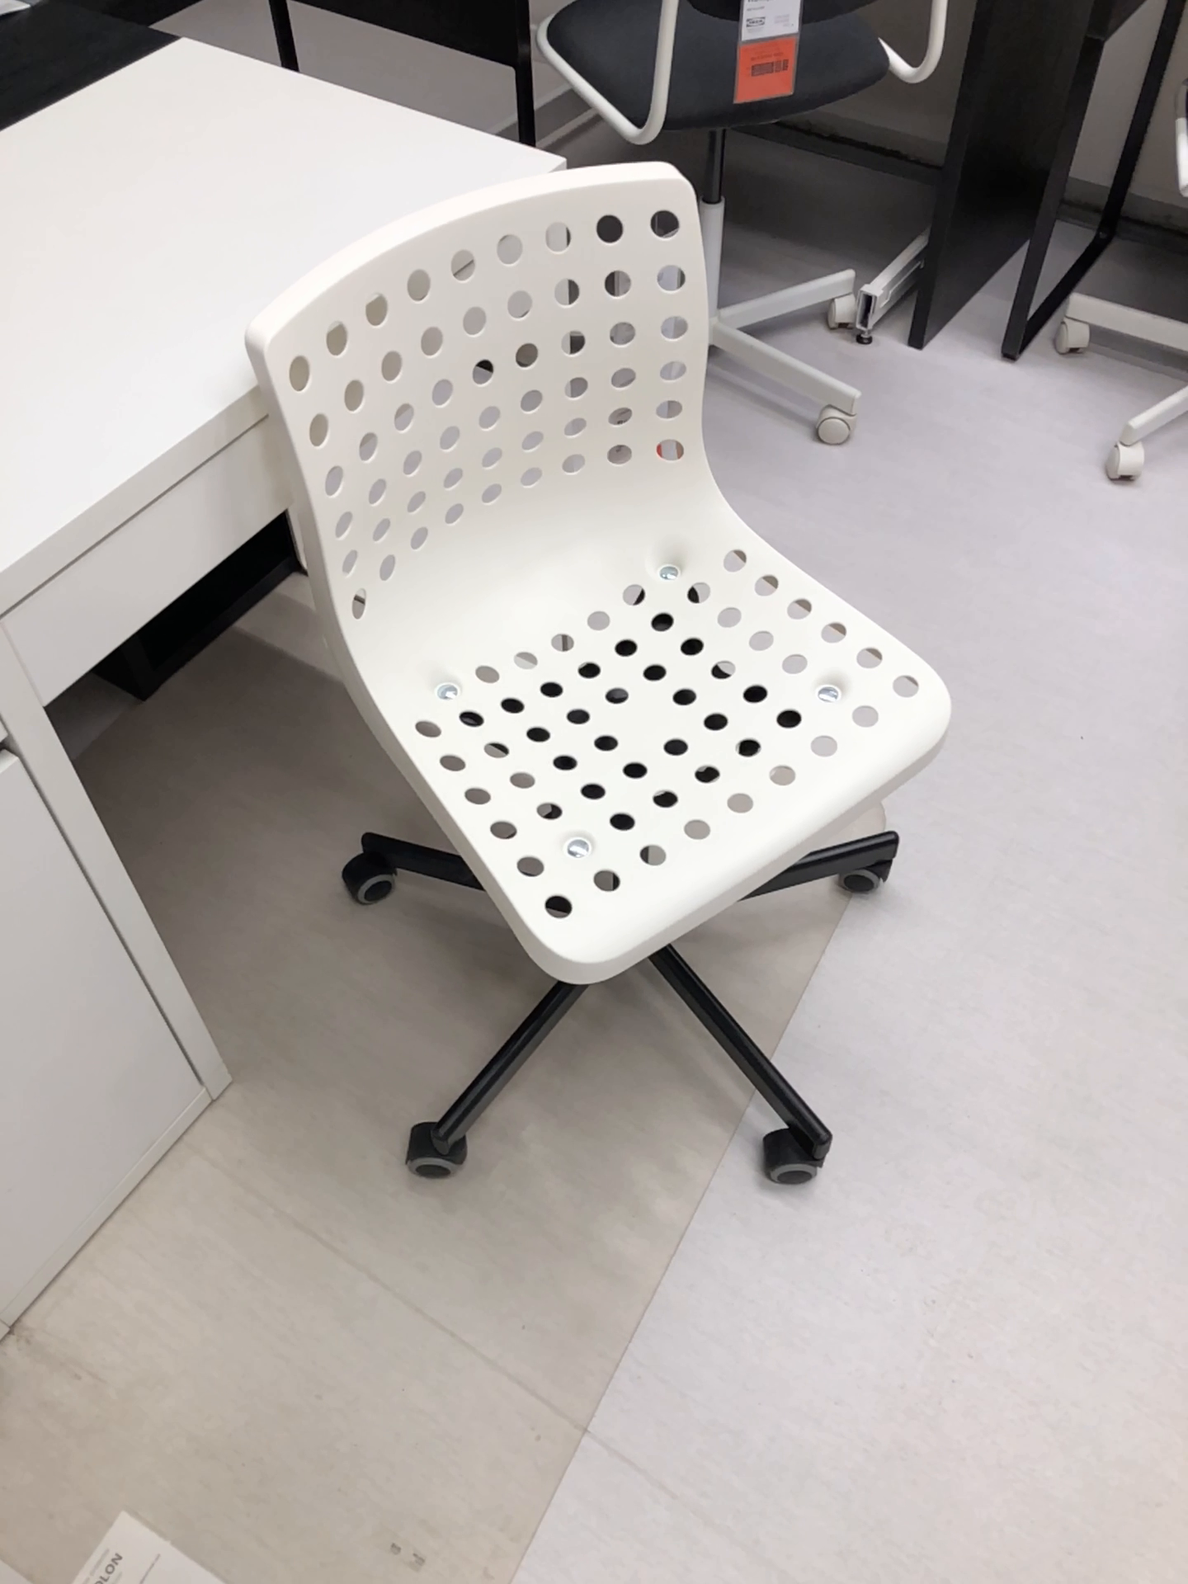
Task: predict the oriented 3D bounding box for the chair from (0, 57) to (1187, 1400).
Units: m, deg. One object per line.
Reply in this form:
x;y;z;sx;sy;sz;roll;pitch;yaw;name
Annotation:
0.027;-0.060;1.151;0.671;0.746;0.652;-30;56;-22;chair
